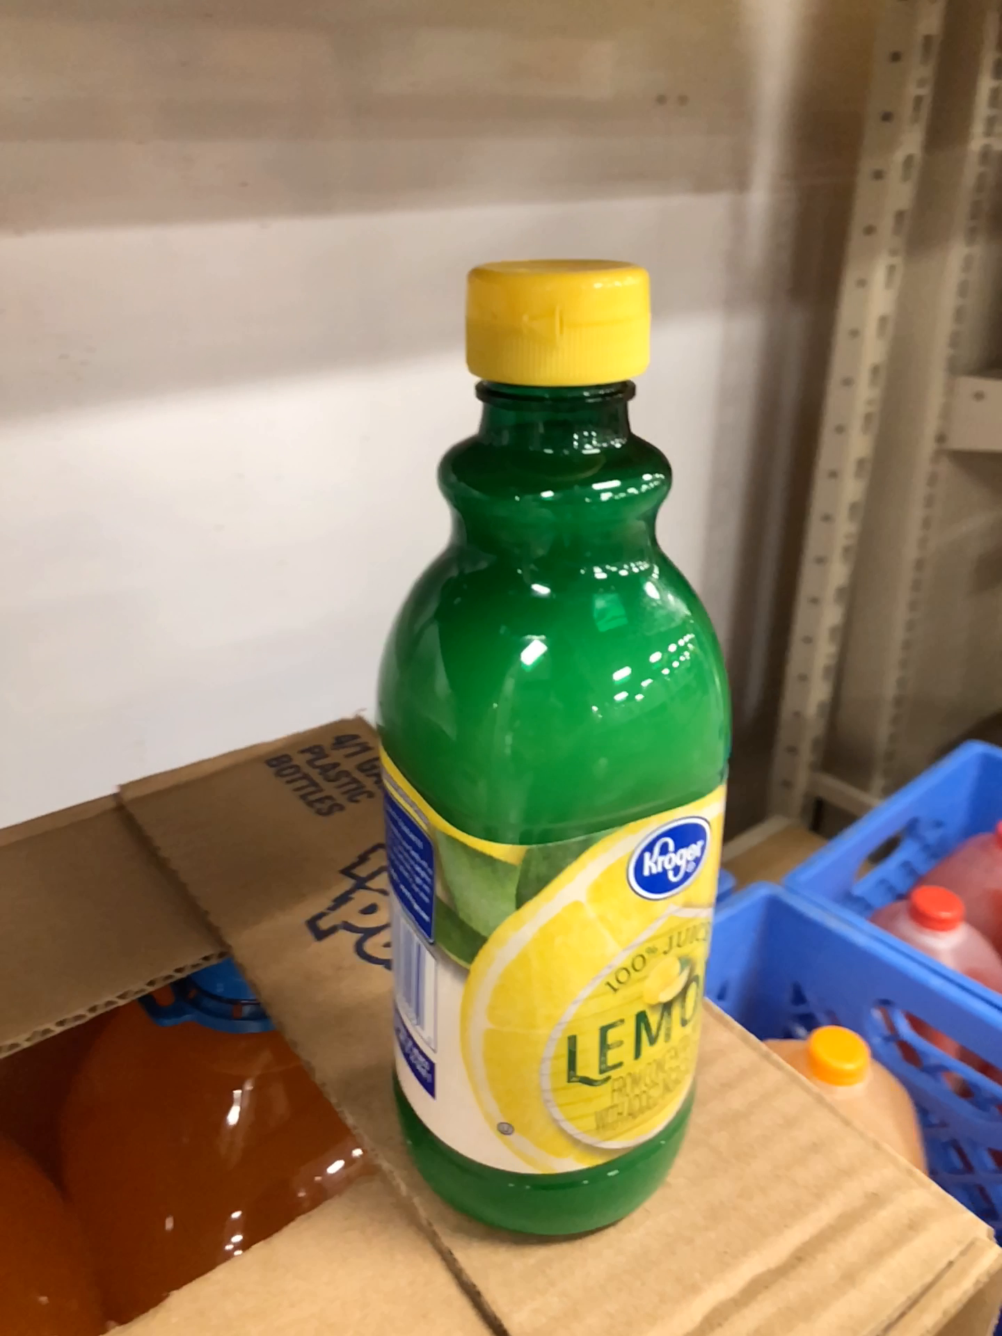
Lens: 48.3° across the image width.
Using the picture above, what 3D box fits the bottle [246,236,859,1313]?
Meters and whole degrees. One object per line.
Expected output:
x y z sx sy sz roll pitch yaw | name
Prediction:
0.010 0.018 0.218 0.070 0.184 0.070 -1 25 0 | bottle
